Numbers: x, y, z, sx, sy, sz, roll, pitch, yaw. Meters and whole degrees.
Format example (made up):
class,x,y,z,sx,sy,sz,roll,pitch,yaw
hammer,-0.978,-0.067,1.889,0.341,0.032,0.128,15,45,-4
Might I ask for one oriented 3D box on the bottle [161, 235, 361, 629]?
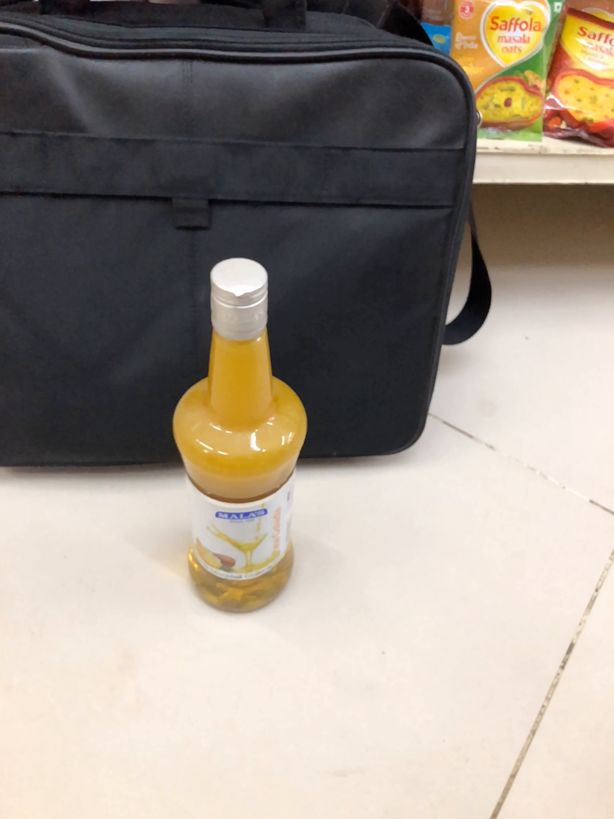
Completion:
class,x,y,z,sx,sy,sz,roll,pitch,yaw
bottle,-0.036,0.035,0.450,0.090,0.288,0.080,-6,48,-11
